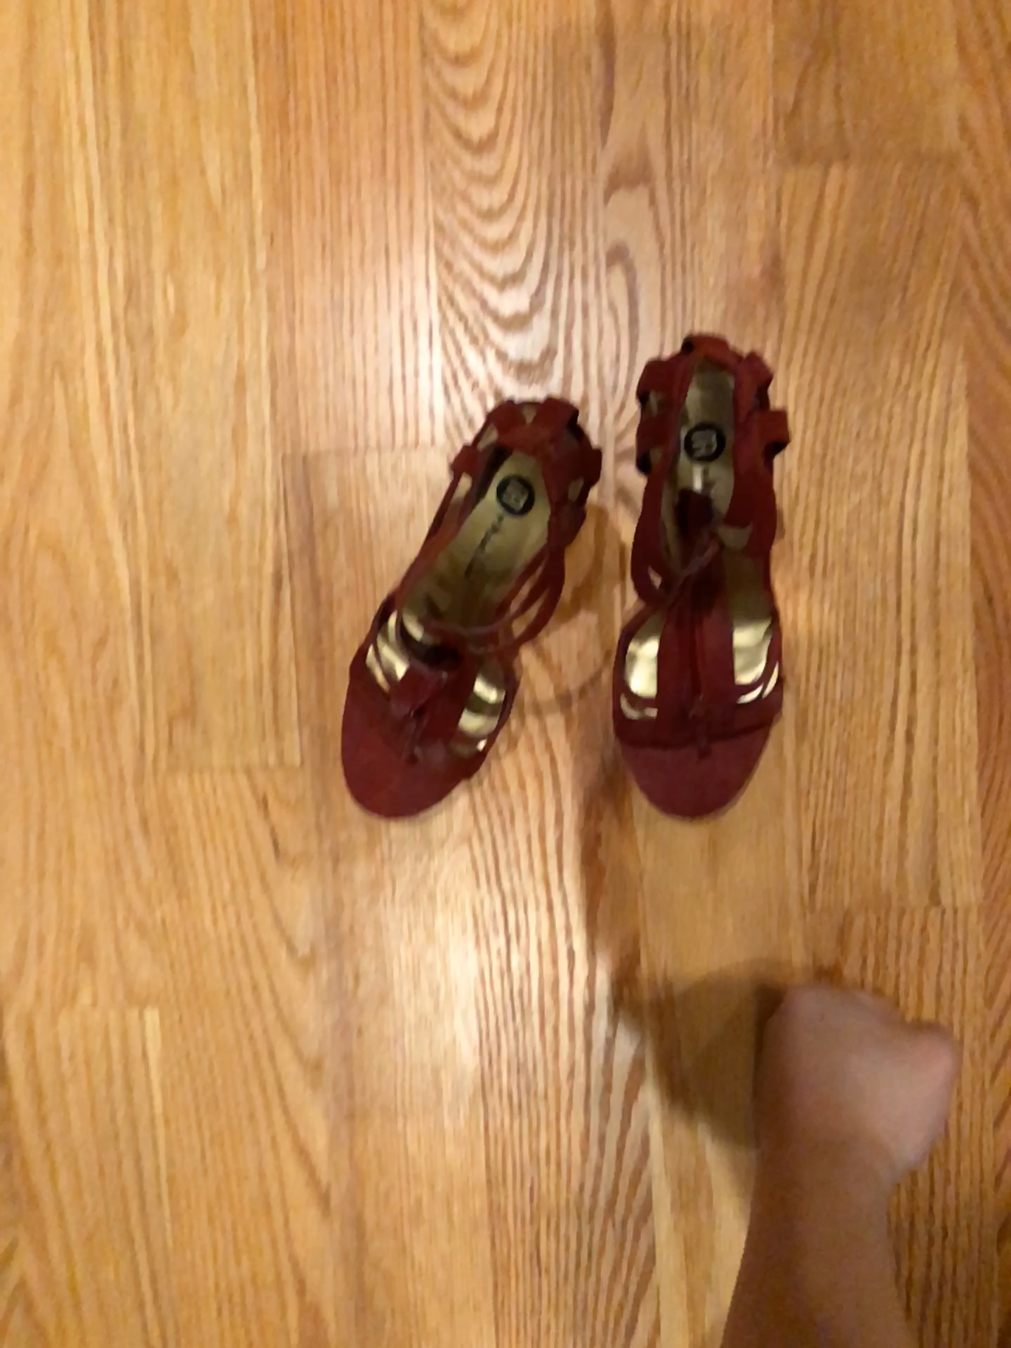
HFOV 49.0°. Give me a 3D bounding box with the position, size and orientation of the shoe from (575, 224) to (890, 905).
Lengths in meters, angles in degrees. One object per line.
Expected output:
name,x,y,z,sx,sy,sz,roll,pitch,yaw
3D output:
shoe,0.079,-0.036,0.434,0.085,0.176,0.206,-4,92,5

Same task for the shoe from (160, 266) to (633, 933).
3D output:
shoe,-0.030,-0.027,0.448,0.085,0.176,0.199,23,94,4
